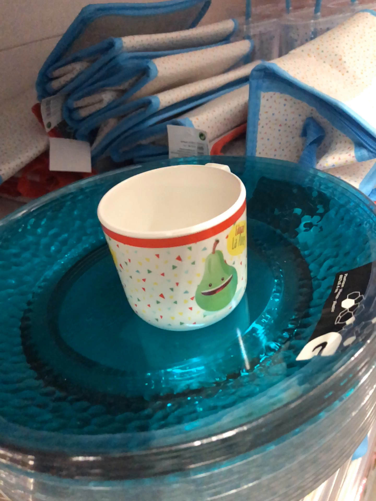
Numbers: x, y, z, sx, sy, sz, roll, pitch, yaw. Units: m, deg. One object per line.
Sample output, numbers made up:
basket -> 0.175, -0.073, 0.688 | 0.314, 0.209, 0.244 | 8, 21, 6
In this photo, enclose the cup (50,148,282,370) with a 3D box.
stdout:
cup -> -0.002, -0.005, 0.225 | 0.076, 0.059, 0.103 | 11, 38, 25
